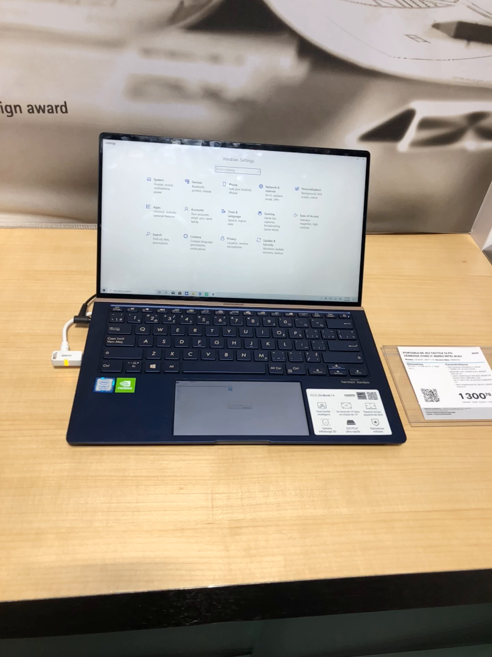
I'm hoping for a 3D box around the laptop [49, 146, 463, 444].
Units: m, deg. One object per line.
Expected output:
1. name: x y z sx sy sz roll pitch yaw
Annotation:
1. laptop: 0.000 -0.054 0.603 0.332 0.159 0.322 1 41 -7
